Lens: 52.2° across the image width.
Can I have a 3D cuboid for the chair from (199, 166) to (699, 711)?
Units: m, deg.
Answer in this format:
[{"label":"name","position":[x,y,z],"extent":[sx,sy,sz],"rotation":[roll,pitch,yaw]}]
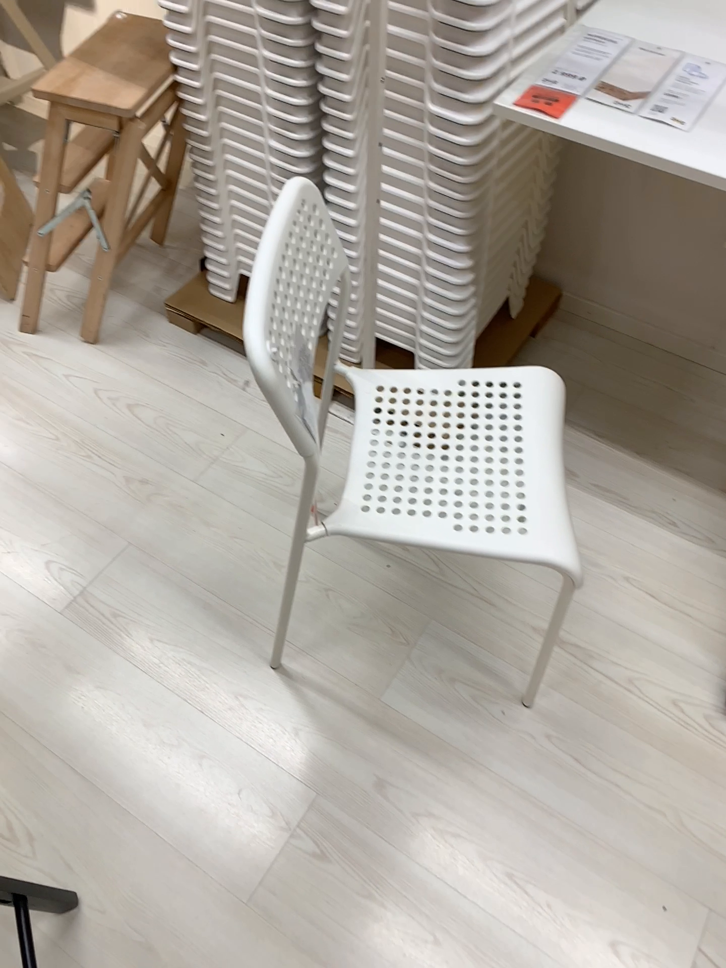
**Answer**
[{"label":"chair","position":[0.096,-0.016,1.166],"extent":[0.500,0.746,0.425],"rotation":[5,52,3]}]
